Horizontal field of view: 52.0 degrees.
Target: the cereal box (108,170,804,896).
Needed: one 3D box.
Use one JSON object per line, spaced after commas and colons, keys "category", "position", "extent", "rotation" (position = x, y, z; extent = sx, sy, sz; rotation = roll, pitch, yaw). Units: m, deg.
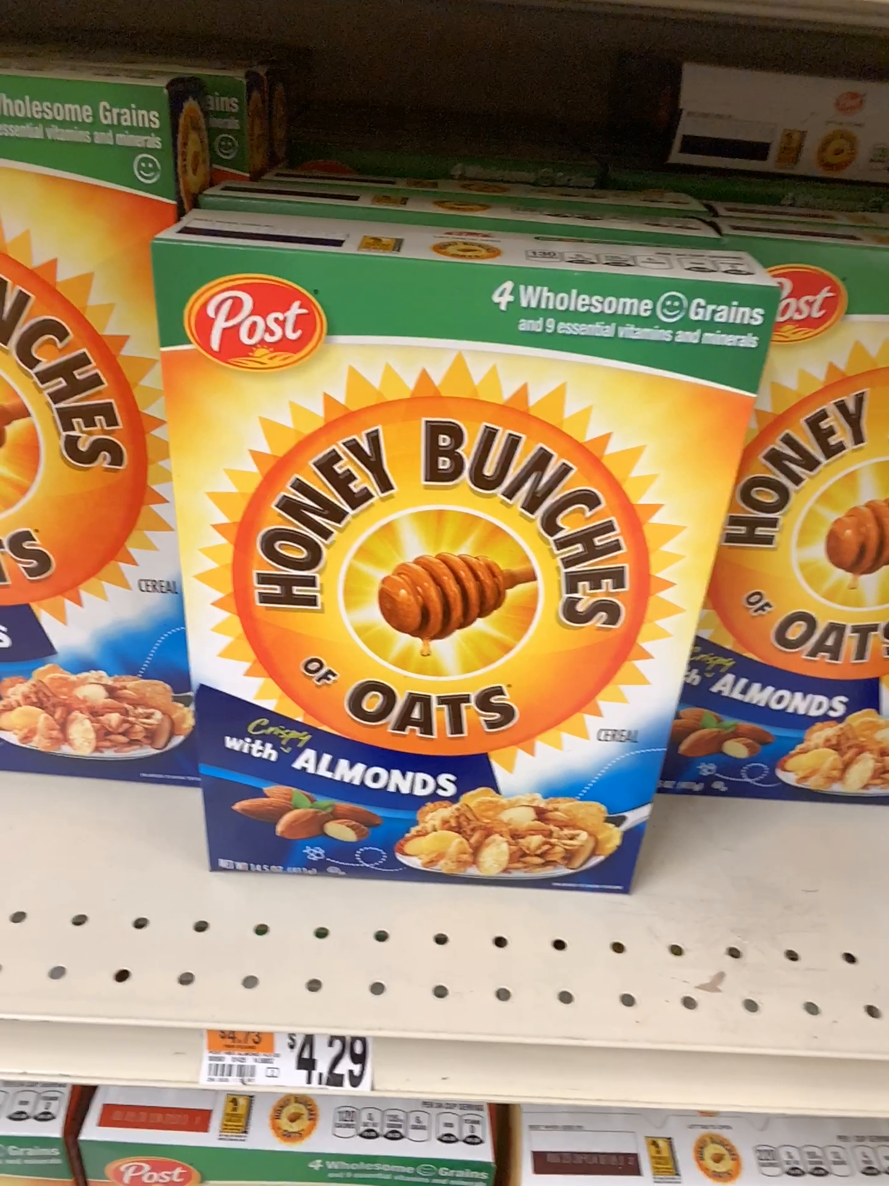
{"category": "cereal box", "position": [-0.005, -0.003, 0.361], "extent": [0.200, 0.278, 0.060], "rotation": [4, 32, -1]}
